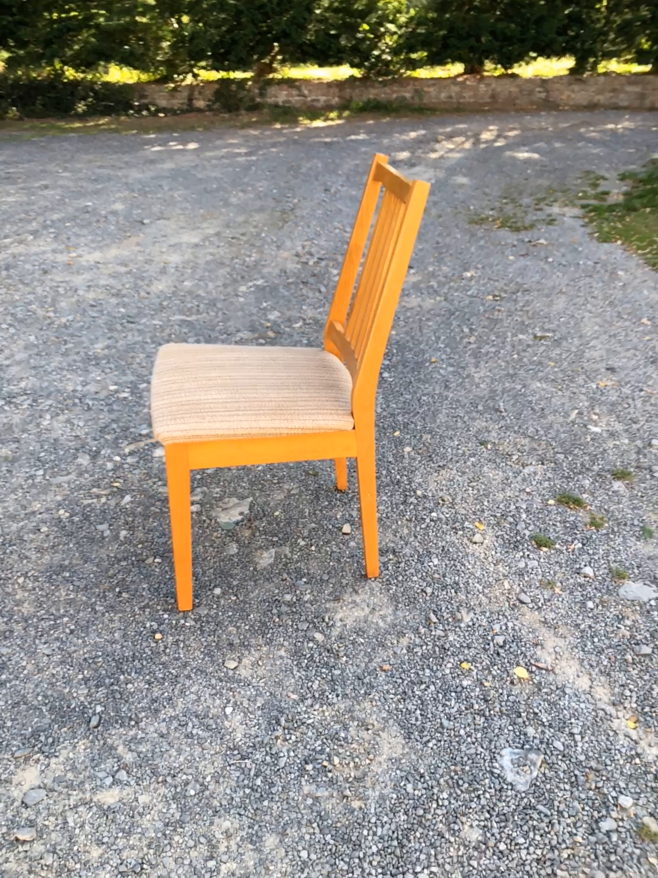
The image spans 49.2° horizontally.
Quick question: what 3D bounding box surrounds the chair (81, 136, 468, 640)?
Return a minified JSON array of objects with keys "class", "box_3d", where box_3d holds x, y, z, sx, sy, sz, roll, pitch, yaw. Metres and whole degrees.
[{"class":"chair","box_3d":[-0.112,-0.138,1.563,0.591,0.845,0.603,-8,32,-8]}]
